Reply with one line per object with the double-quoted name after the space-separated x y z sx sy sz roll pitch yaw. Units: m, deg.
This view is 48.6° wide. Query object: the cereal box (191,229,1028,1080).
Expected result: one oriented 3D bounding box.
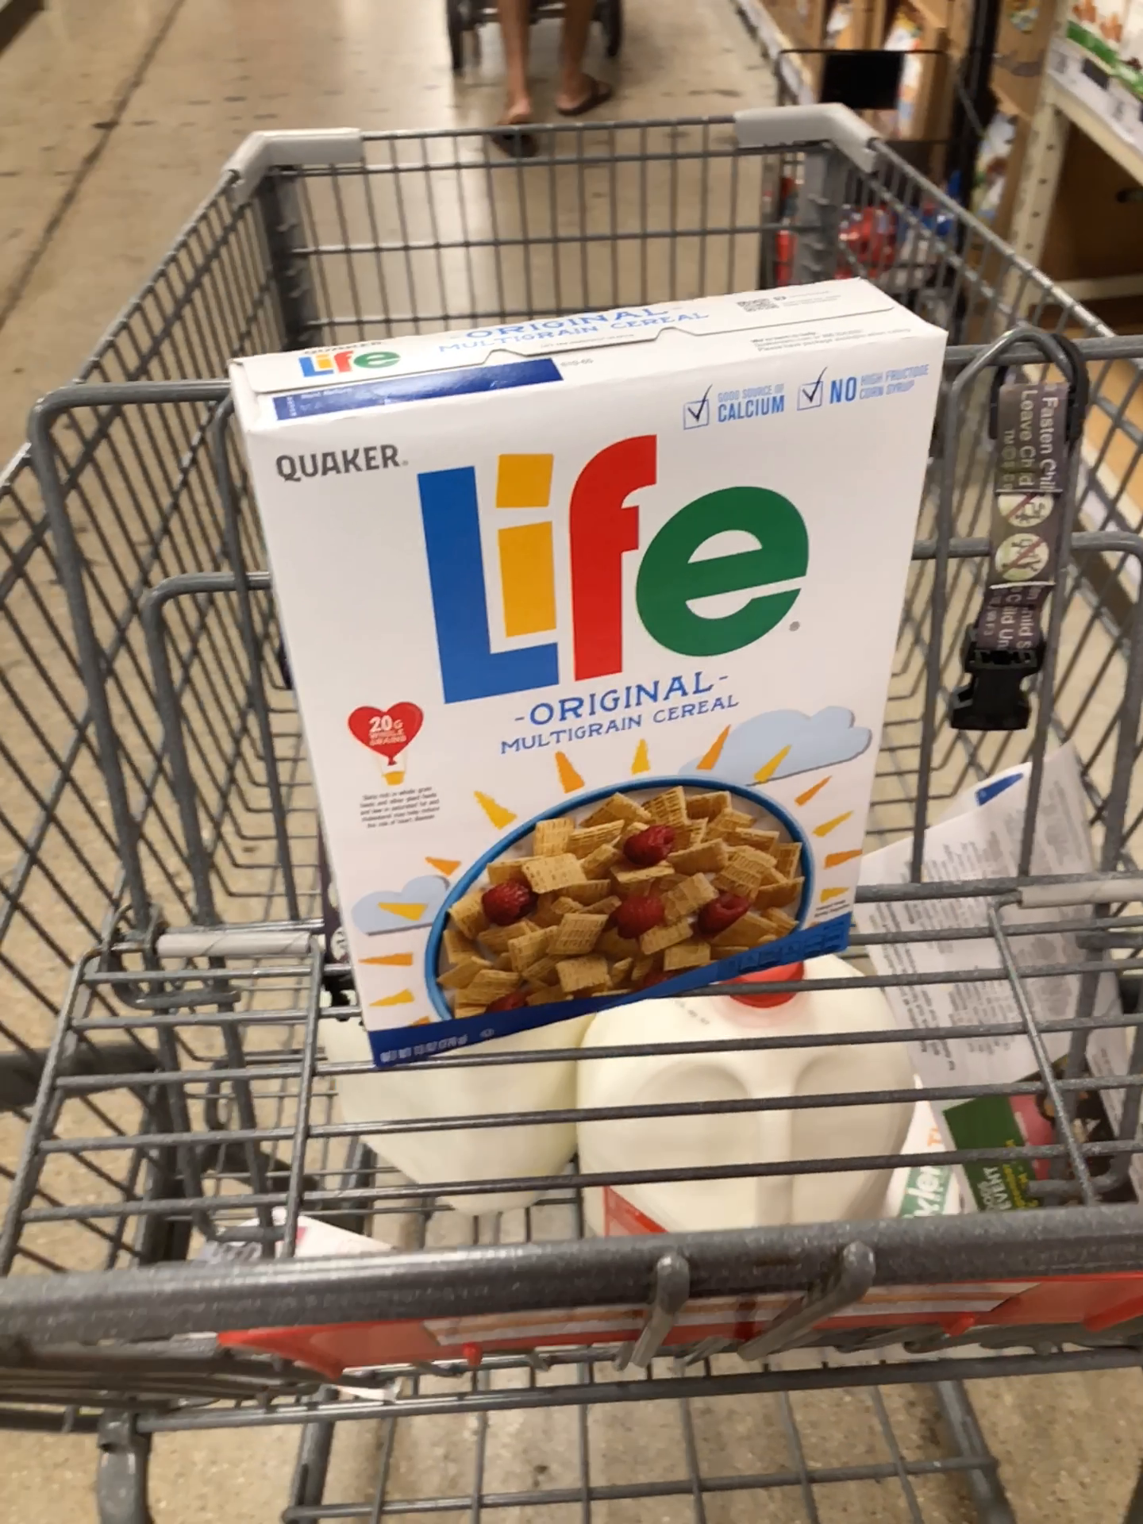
0.013 -0.020 0.387 0.200 0.240 0.050 -11 40 -10 "cereal box"
